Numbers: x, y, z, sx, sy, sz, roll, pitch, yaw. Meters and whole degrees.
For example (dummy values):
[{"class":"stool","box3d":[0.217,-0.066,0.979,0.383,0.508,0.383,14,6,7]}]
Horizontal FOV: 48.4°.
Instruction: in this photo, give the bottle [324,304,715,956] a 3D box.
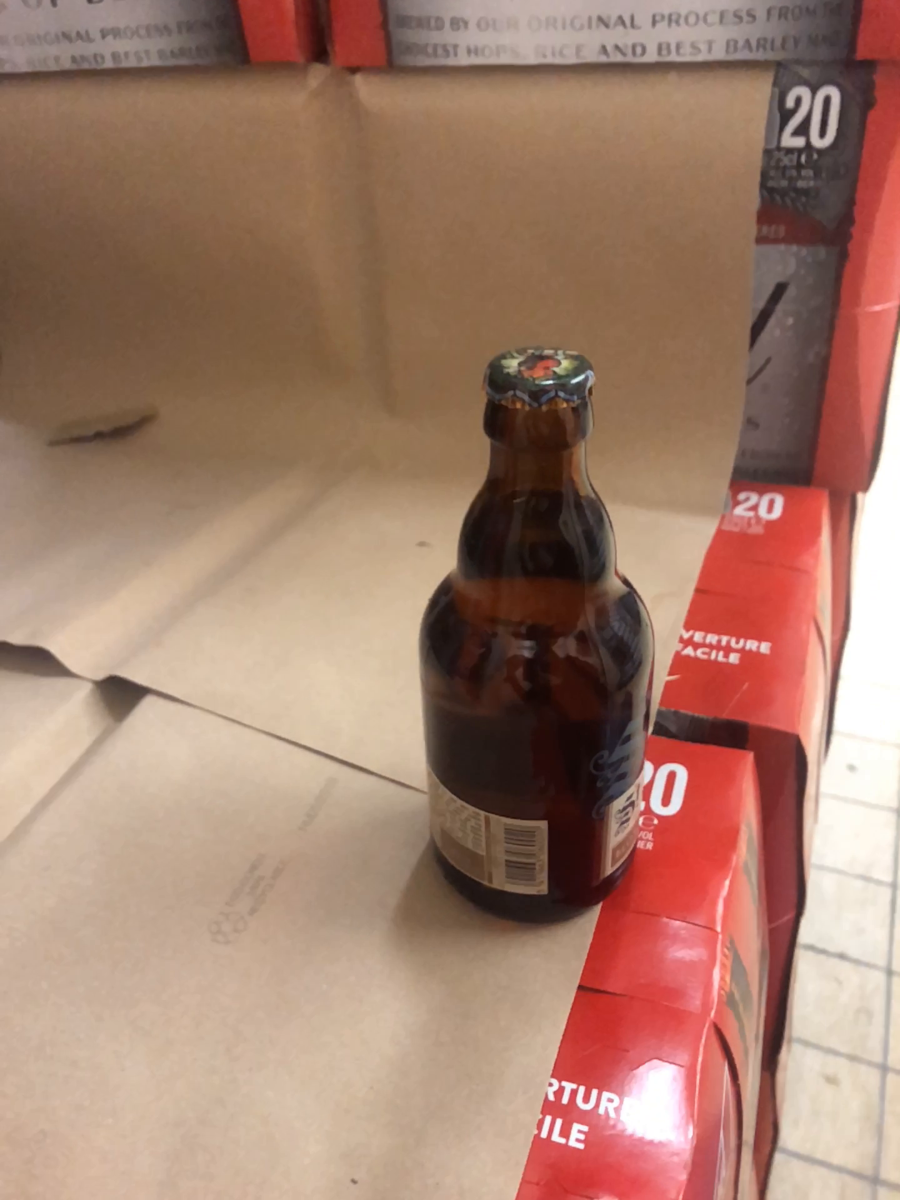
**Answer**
[{"class":"bottle","box3d":[0.019,0.015,0.287,0.080,0.169,0.081,-3,36,2]}]
